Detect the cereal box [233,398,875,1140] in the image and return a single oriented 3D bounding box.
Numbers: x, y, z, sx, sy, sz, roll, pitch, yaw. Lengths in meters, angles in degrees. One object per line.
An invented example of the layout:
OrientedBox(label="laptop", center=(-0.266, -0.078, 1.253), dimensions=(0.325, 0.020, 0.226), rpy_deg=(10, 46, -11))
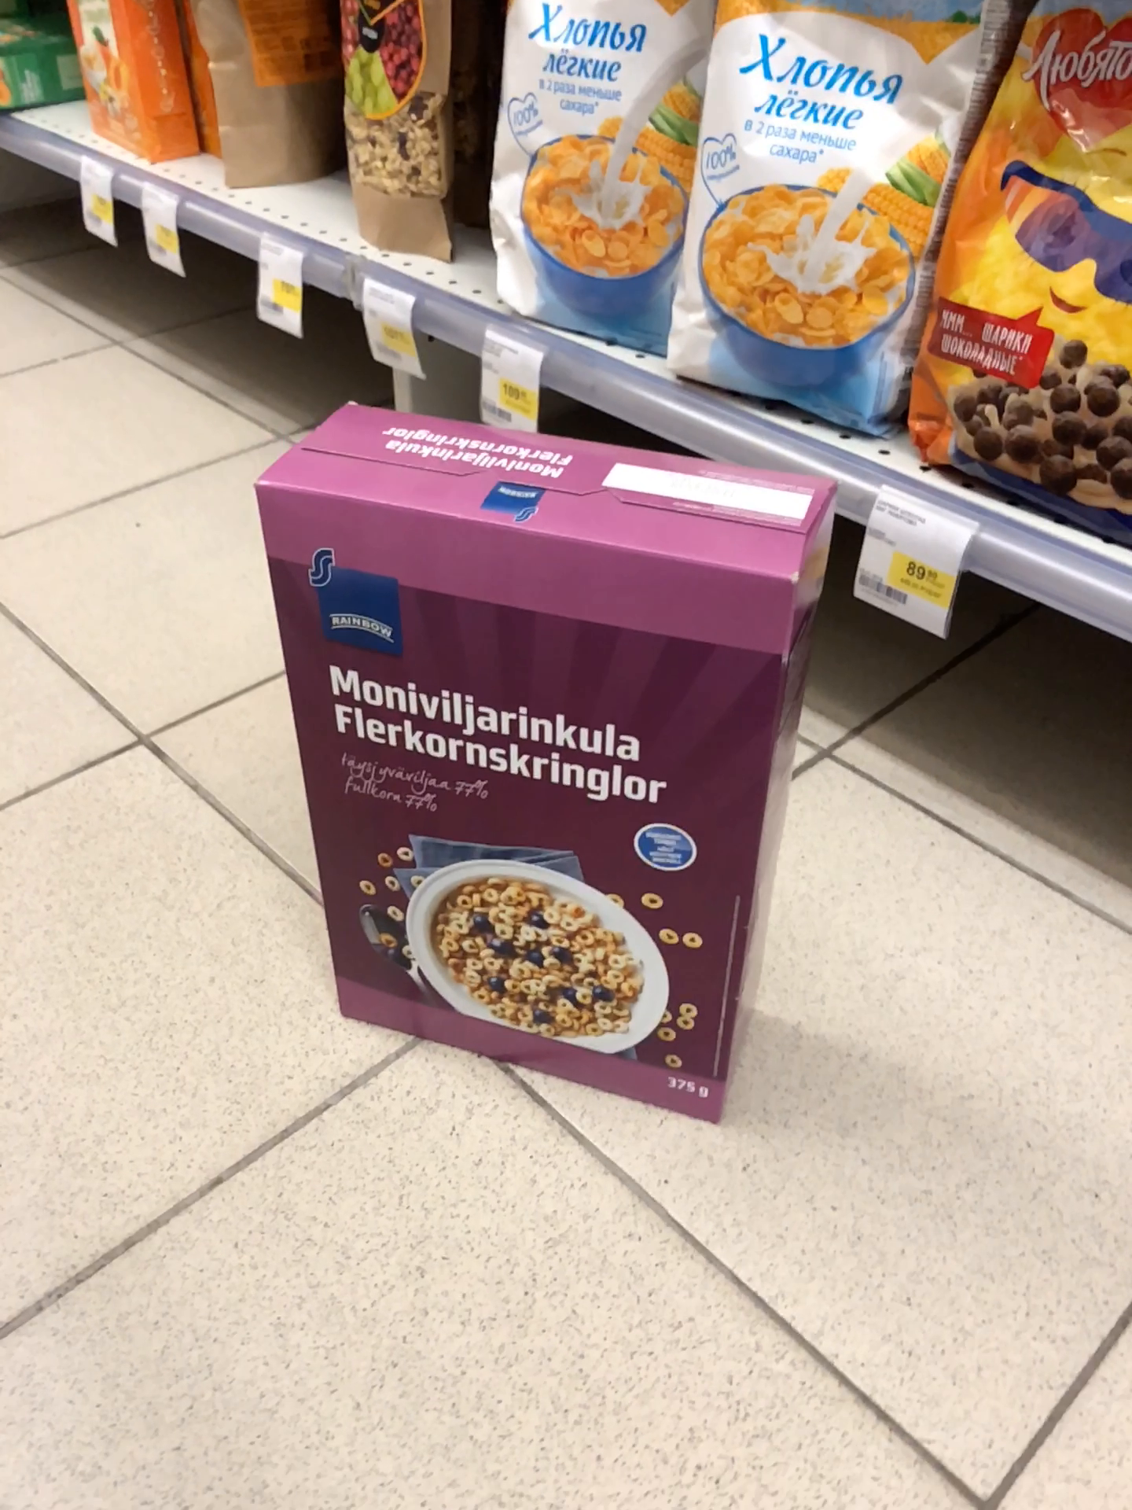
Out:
OrientedBox(label="cereal box", center=(-0.005, 0.014, 0.521), dimensions=(0.210, 0.278, 0.080), rpy_deg=(13, 39, 15))
